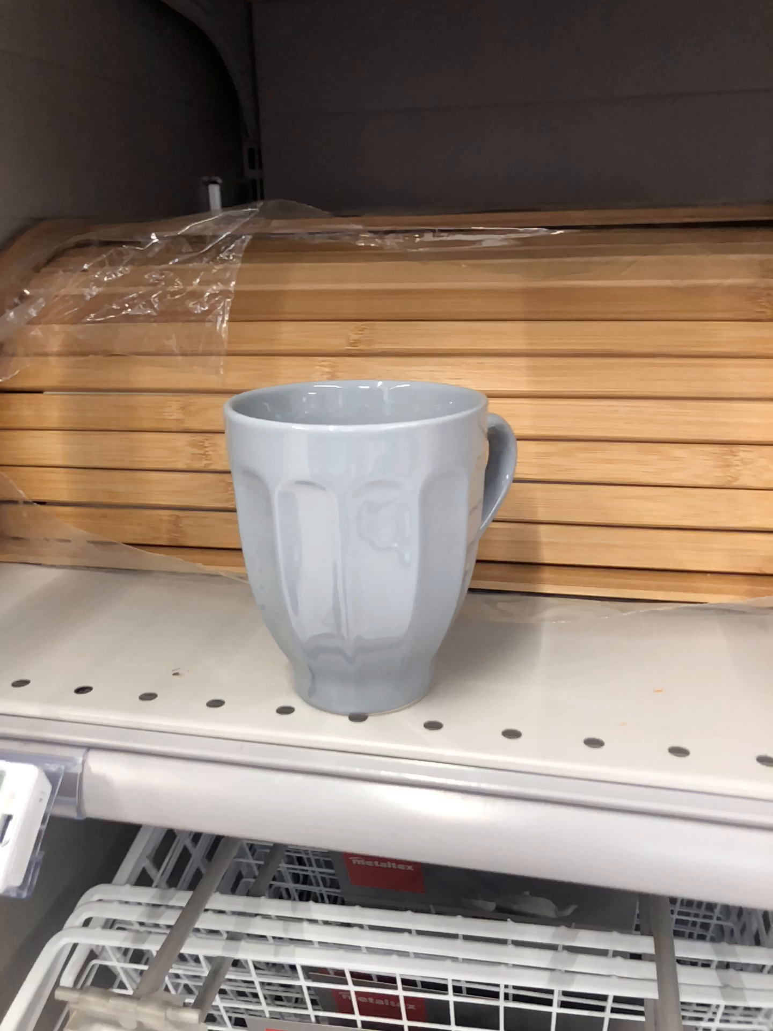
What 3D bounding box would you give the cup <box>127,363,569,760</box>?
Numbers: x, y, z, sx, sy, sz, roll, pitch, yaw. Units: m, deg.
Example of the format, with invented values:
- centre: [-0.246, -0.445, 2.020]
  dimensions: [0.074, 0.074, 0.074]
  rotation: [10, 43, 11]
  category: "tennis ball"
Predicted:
- centre: [-0.010, 0.003, 0.301]
  dimensions: [0.117, 0.091, 0.092]
  rotation: [-18, 24, -40]
  category: "cup"
